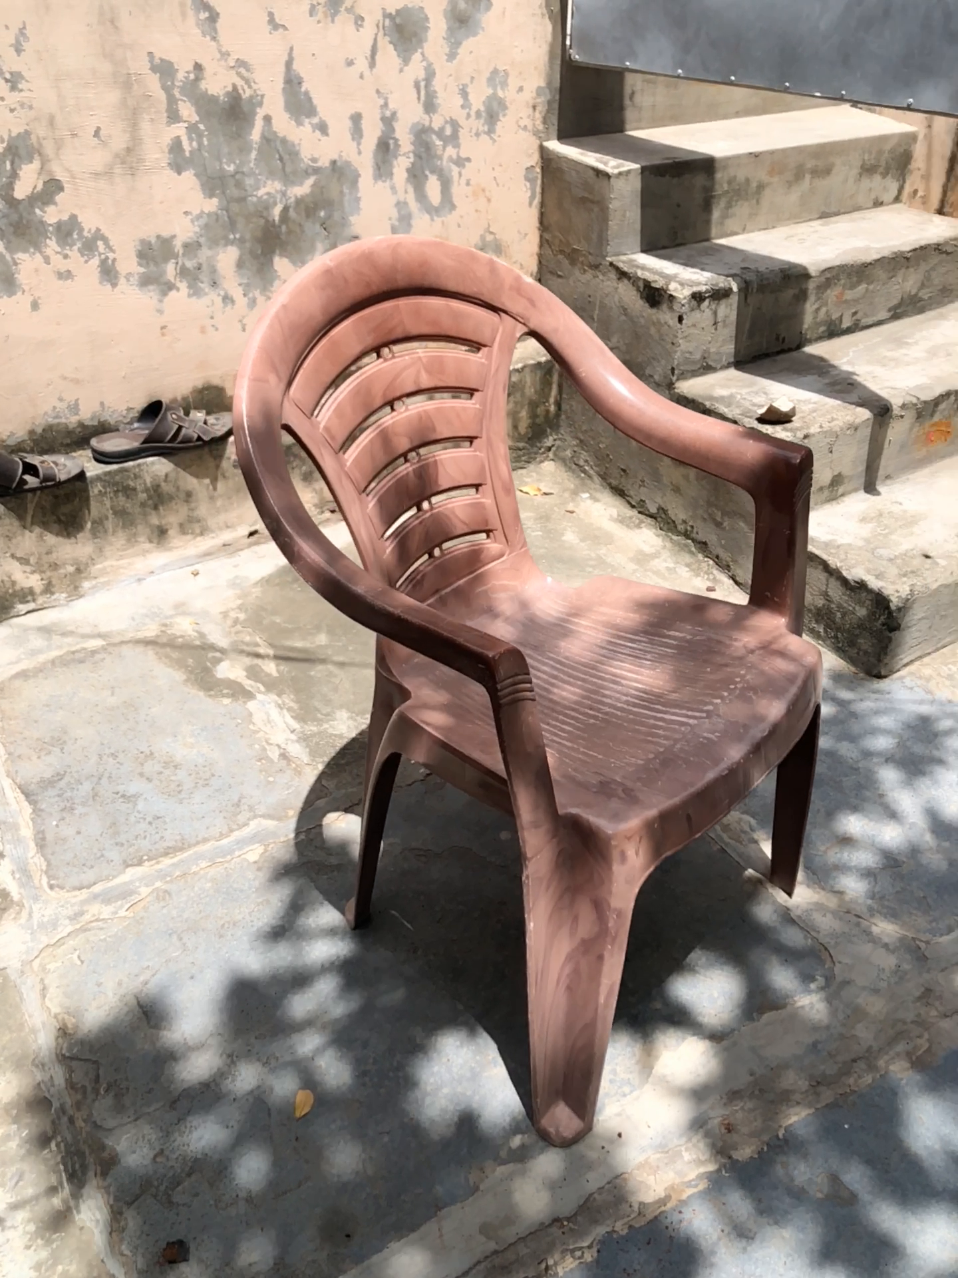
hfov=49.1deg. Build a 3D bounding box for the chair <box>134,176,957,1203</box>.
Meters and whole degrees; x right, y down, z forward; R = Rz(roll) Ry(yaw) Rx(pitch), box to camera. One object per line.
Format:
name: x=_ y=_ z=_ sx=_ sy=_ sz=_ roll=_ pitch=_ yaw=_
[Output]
chair: x=0.106 y=0.003 z=1.121 sx=0.540 sy=0.766 sz=0.583 roll=28 pitch=43 yaw=33
